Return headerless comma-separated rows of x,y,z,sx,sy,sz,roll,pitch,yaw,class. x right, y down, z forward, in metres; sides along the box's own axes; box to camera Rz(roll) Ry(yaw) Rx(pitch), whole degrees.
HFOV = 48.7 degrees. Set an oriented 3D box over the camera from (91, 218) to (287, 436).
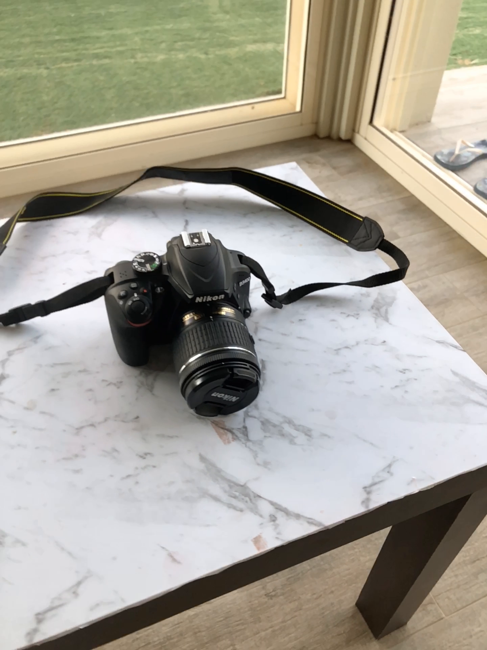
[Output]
-0.047,-0.004,0.427,0.121,0.076,0.138,-10,49,-10,camera
